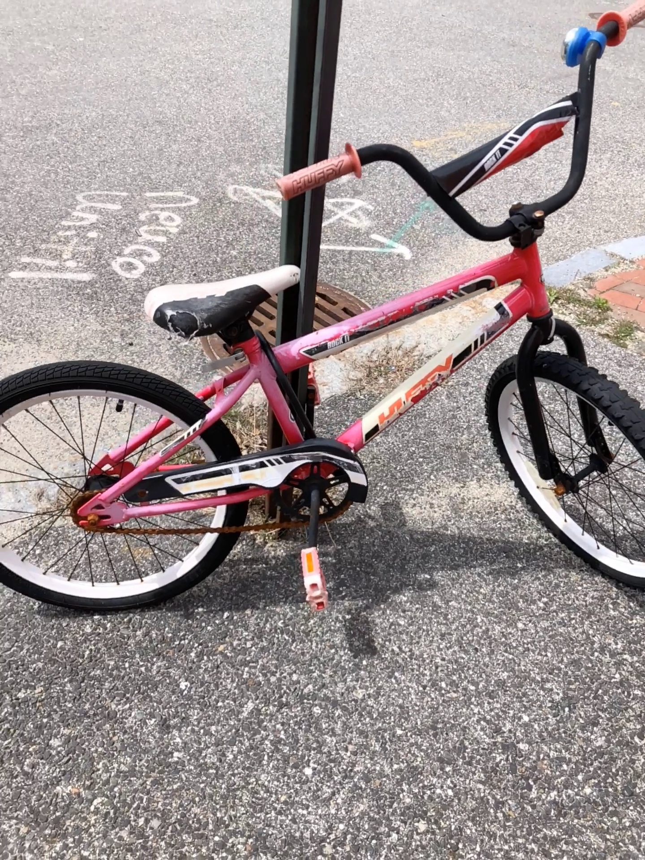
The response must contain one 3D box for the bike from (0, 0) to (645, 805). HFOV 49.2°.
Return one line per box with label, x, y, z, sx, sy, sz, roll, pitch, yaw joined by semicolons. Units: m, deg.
bike;0.013;-0.071;0.954;1.176;0.887;0.700;1;43;-3
